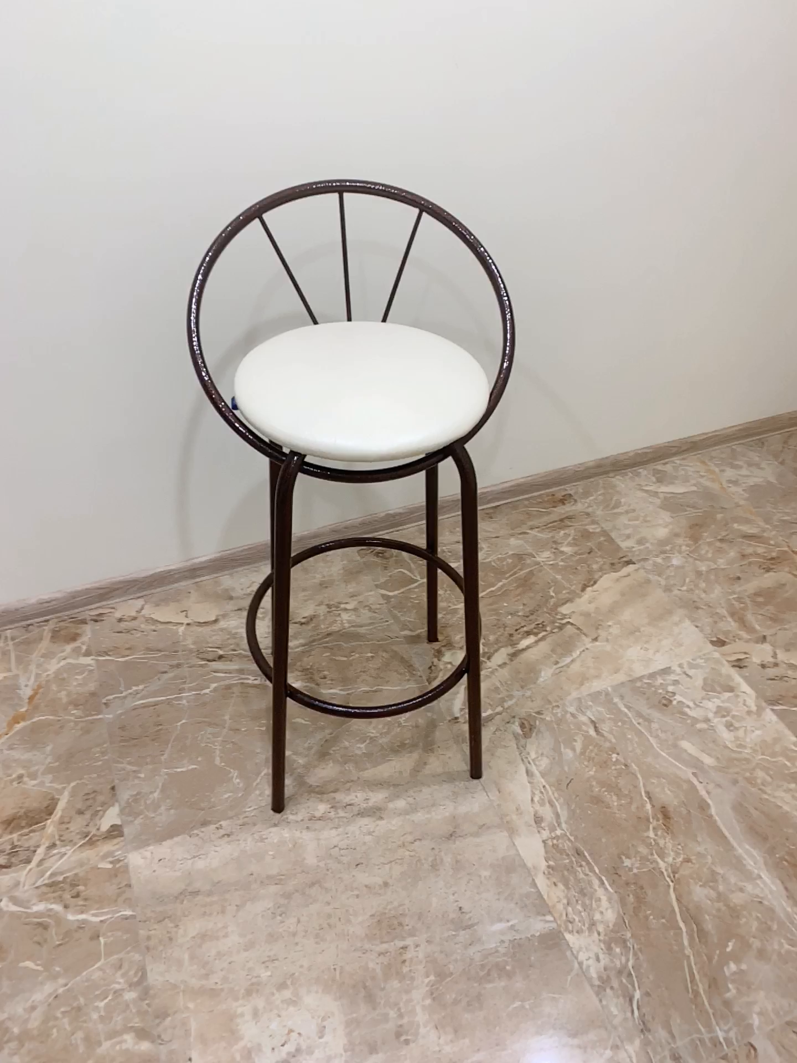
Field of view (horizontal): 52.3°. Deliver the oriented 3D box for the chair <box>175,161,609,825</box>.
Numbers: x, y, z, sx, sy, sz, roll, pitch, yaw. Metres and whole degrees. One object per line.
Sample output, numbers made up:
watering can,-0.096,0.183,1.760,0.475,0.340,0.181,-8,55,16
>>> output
chair,-0.047,-0.019,1.155,0.400,0.835,0.402,-6,41,-9
